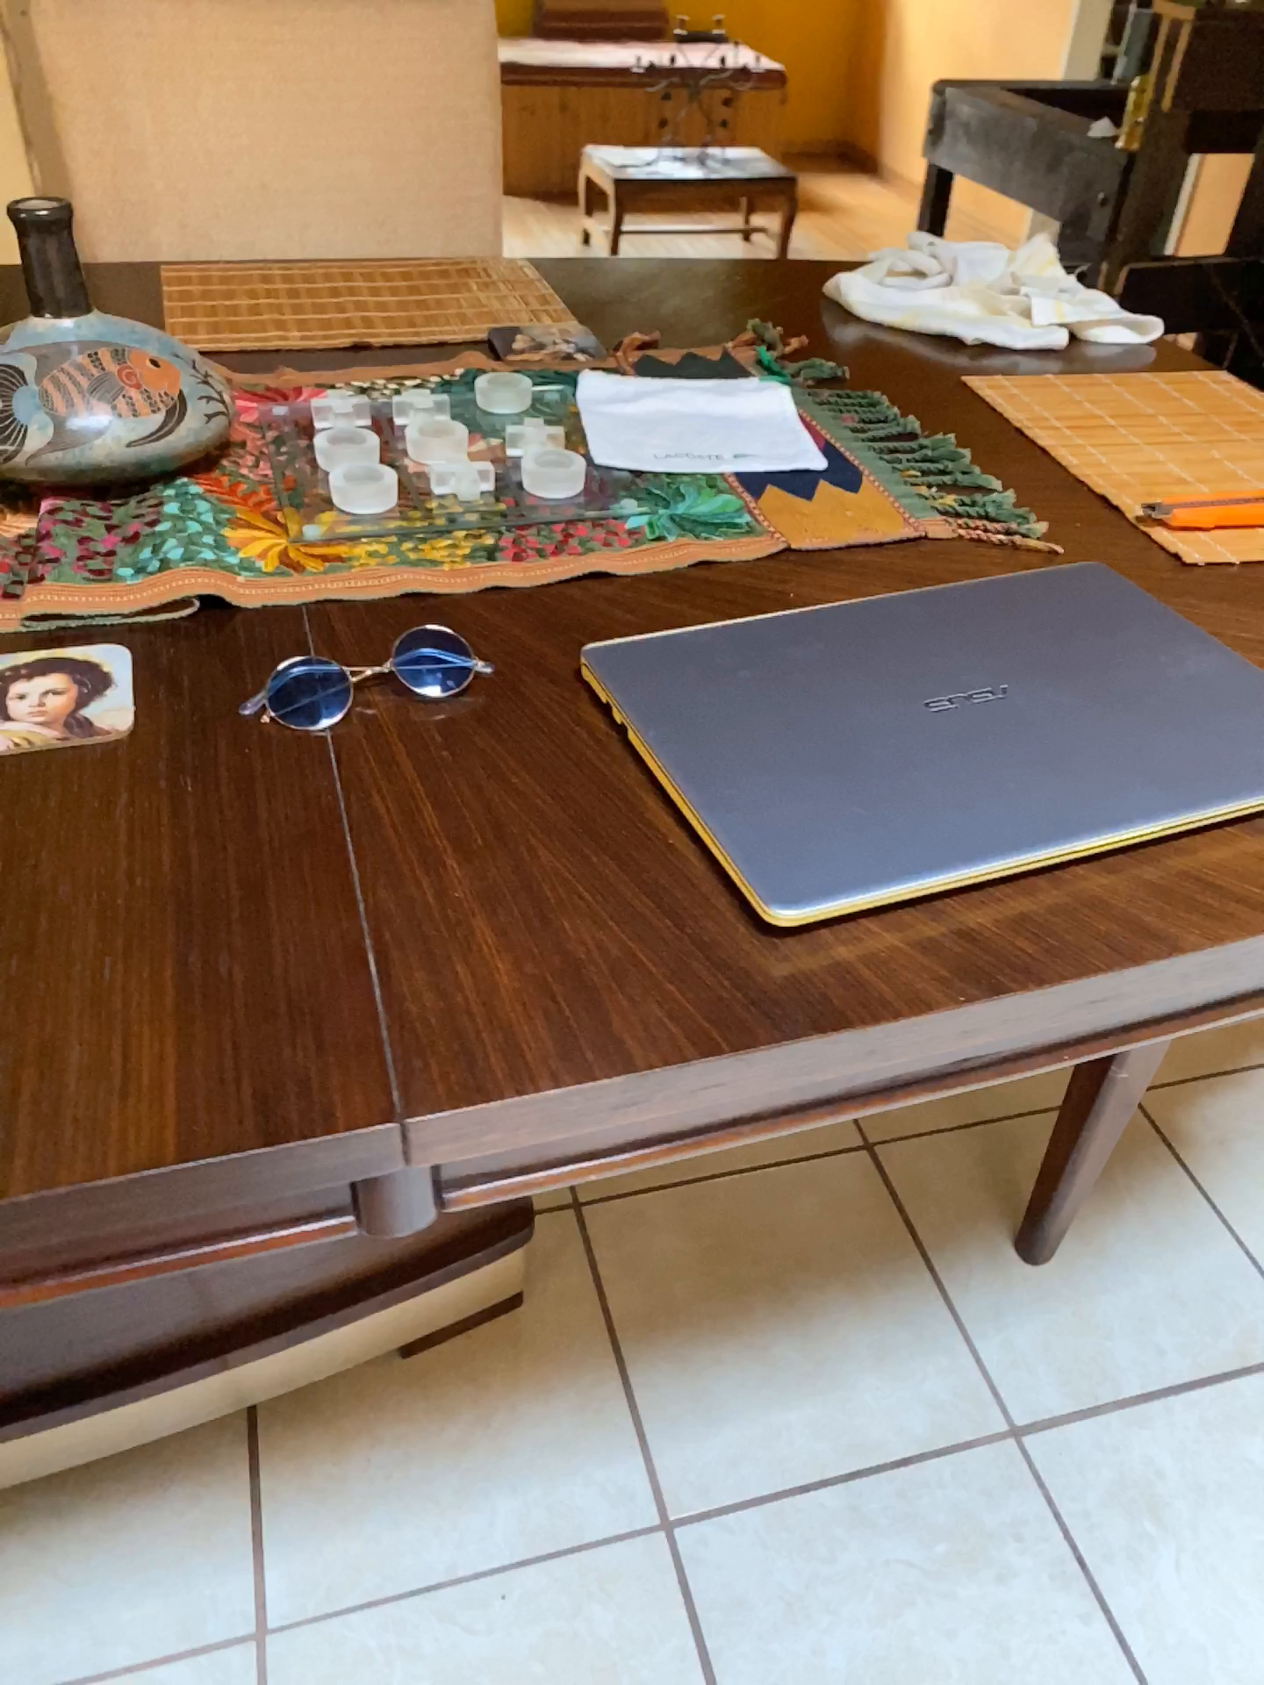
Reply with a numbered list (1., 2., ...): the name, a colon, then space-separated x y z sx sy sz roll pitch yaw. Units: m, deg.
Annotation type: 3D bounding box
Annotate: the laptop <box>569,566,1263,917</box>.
1. laptop: 0.184 -0.080 0.749 0.383 0.001 0.247 -13 42 -20
